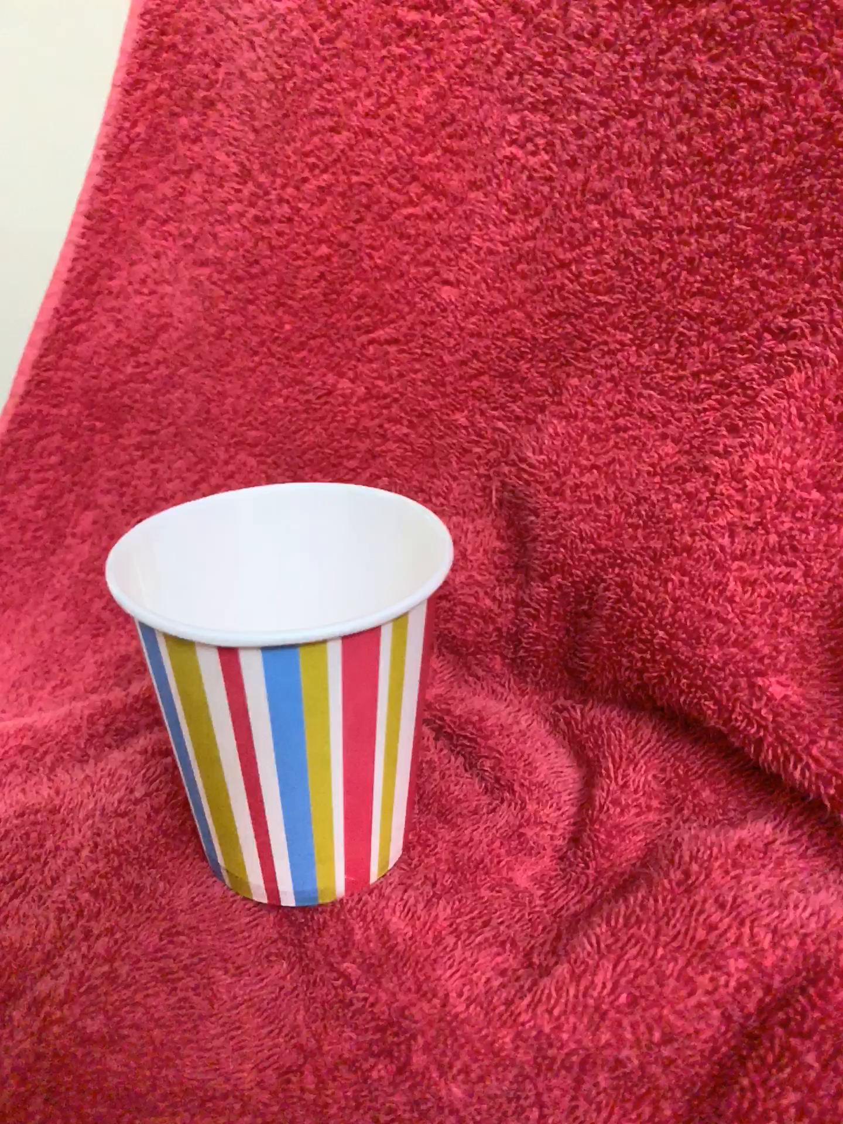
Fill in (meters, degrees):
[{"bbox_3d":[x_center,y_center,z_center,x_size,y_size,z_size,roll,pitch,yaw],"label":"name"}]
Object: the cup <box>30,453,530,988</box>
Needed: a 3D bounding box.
[{"bbox_3d":[-0.021,0.025,0.183,0.070,0.069,0.070,-1,26,0],"label":"cup"}]
